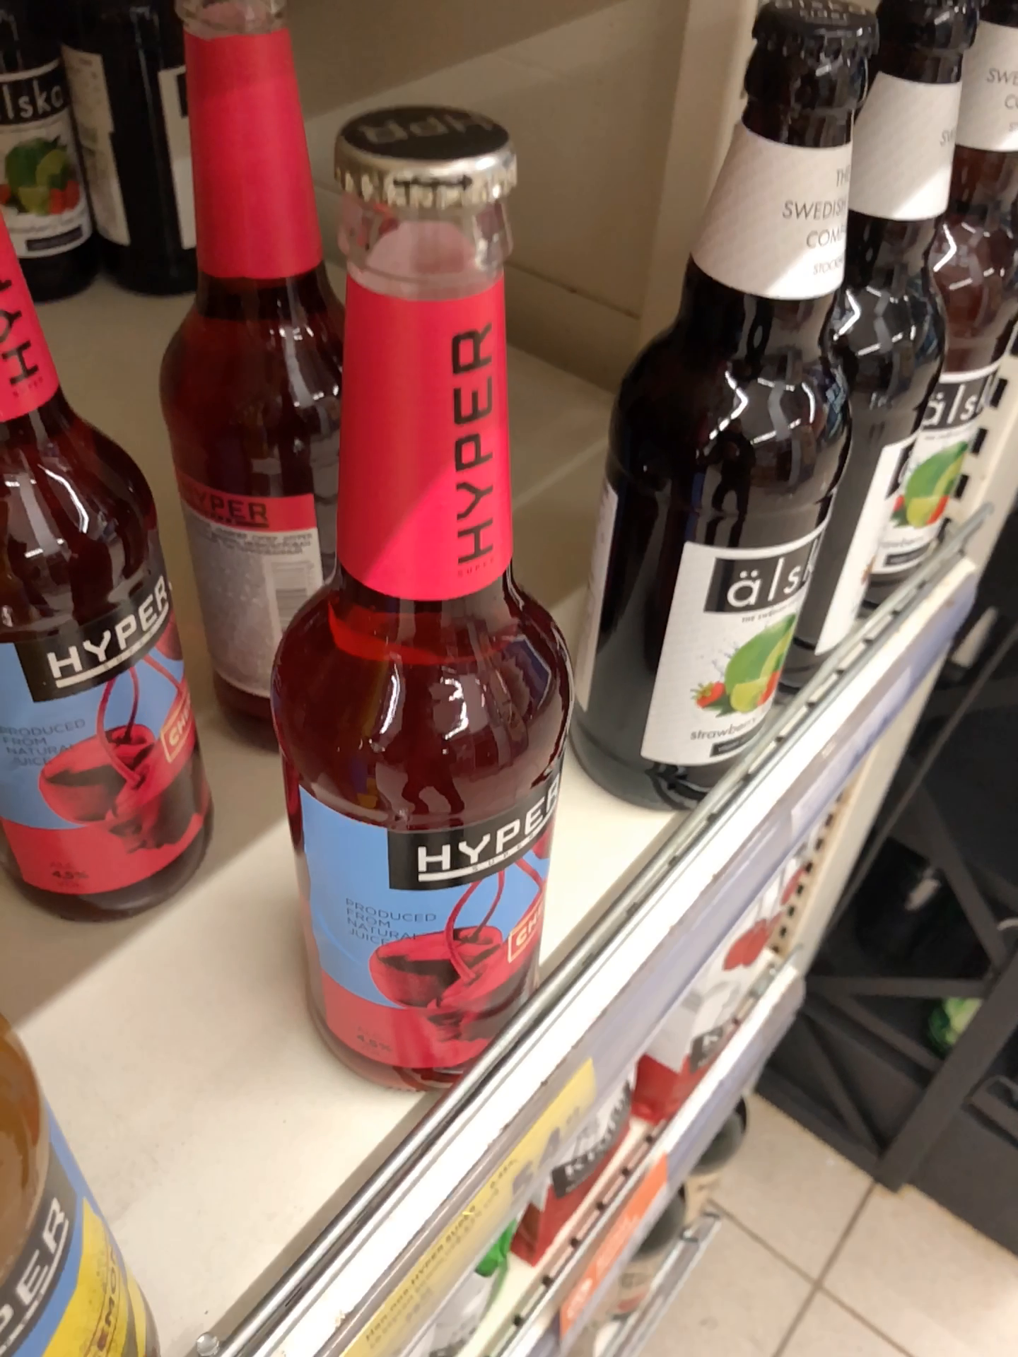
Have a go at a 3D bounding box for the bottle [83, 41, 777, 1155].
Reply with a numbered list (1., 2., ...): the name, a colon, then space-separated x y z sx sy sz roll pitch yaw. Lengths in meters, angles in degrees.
1. bottle: -0.018 0.004 0.258 0.080 0.243 0.070 -29 53 -30
